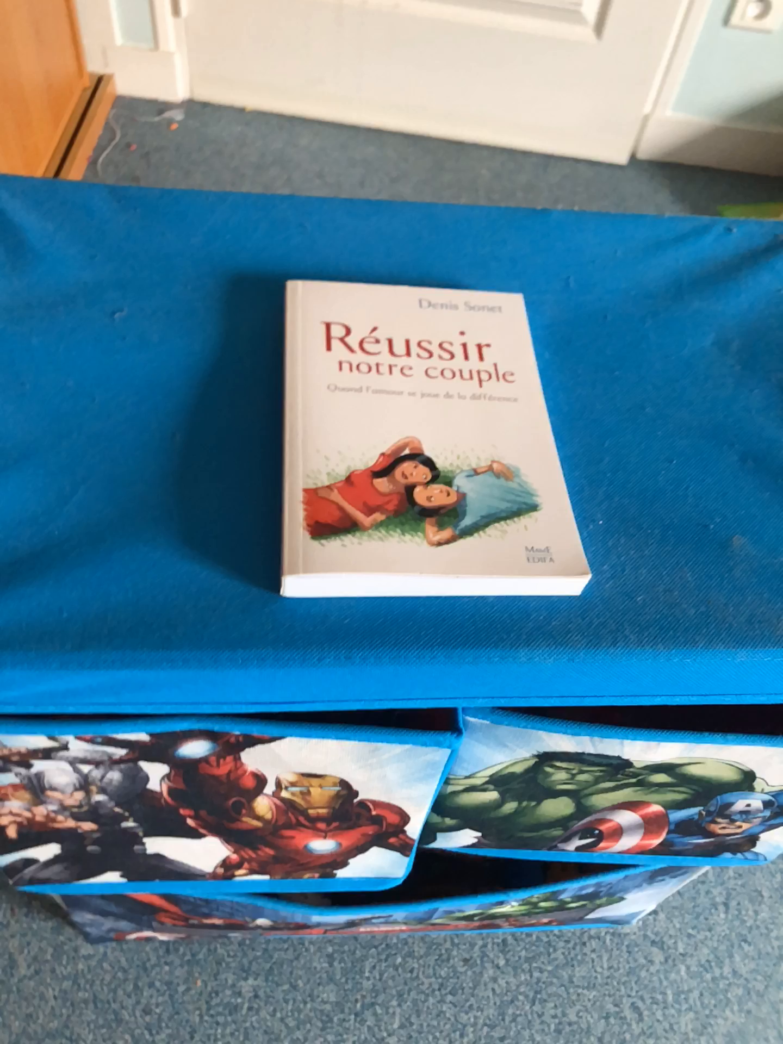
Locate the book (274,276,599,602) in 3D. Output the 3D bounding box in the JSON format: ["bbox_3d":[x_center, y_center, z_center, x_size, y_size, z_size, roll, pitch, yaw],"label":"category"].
[{"bbox_3d":[0.013,-0.047,0.413,0.134,0.016,0.186,1,54,-8],"label":"book"}]
